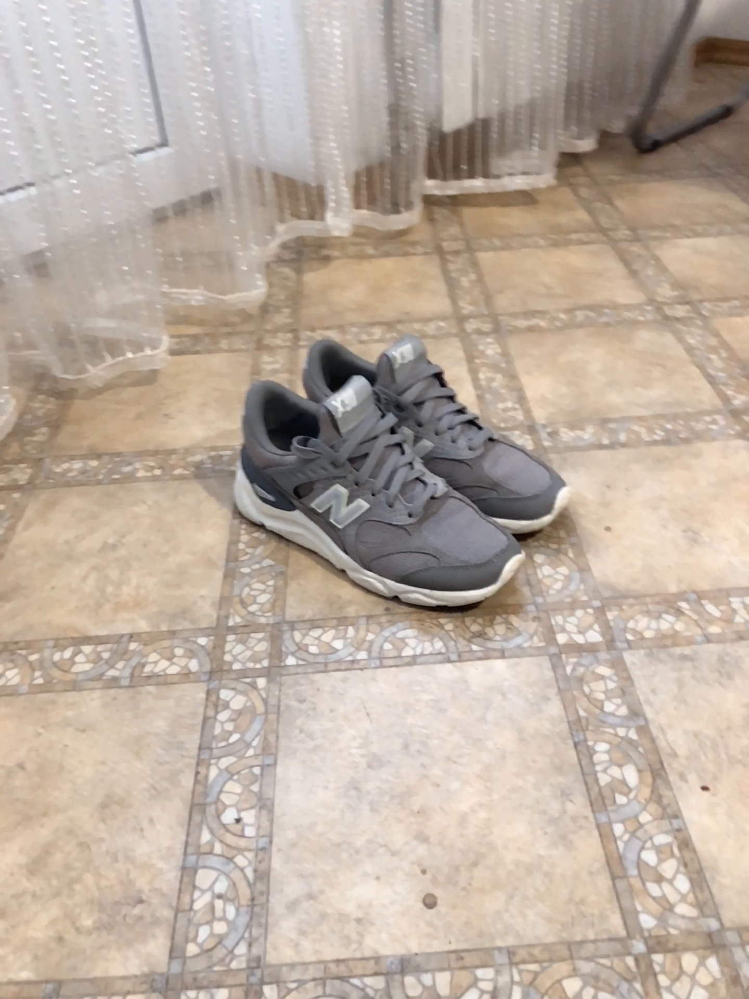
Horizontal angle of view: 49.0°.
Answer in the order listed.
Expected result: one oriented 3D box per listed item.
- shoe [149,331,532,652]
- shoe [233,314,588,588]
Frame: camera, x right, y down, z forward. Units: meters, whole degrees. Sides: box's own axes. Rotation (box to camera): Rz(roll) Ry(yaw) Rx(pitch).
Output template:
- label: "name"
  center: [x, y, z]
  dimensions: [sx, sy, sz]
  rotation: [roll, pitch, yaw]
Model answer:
- label: "shoe"
  center: [-0.030, -0.019, 0.614]
  dimensions: [0.271, 0.119, 0.100]
  rotation: [24, 46, 32]
- label: "shoe"
  center: [0.024, -0.050, 0.685]
  dimensions: [0.271, 0.119, 0.101]
  rotation: [22, 45, 30]
